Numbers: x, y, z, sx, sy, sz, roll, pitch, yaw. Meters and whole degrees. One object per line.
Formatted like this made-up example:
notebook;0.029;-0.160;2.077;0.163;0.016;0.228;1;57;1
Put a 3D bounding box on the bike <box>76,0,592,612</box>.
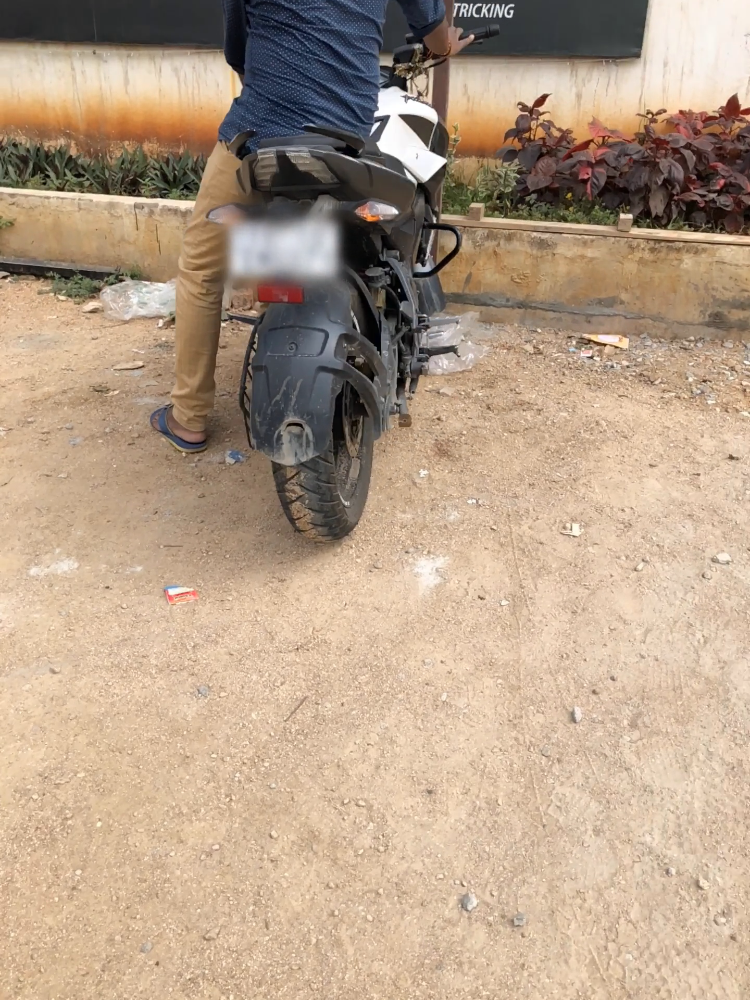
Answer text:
bike;-0.066;-0.770;2.286;0.778;1.122;1.860;2;30;0
